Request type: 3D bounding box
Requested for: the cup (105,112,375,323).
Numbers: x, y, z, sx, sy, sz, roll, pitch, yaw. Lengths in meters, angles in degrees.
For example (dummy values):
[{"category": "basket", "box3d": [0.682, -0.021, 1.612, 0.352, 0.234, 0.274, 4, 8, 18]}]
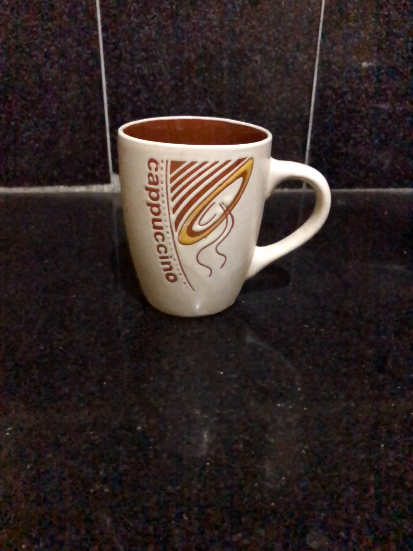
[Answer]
[{"category": "cup", "box3d": [0.011, -0.039, 0.262, 0.120, 0.089, 0.091, -2, 28, -6]}]
